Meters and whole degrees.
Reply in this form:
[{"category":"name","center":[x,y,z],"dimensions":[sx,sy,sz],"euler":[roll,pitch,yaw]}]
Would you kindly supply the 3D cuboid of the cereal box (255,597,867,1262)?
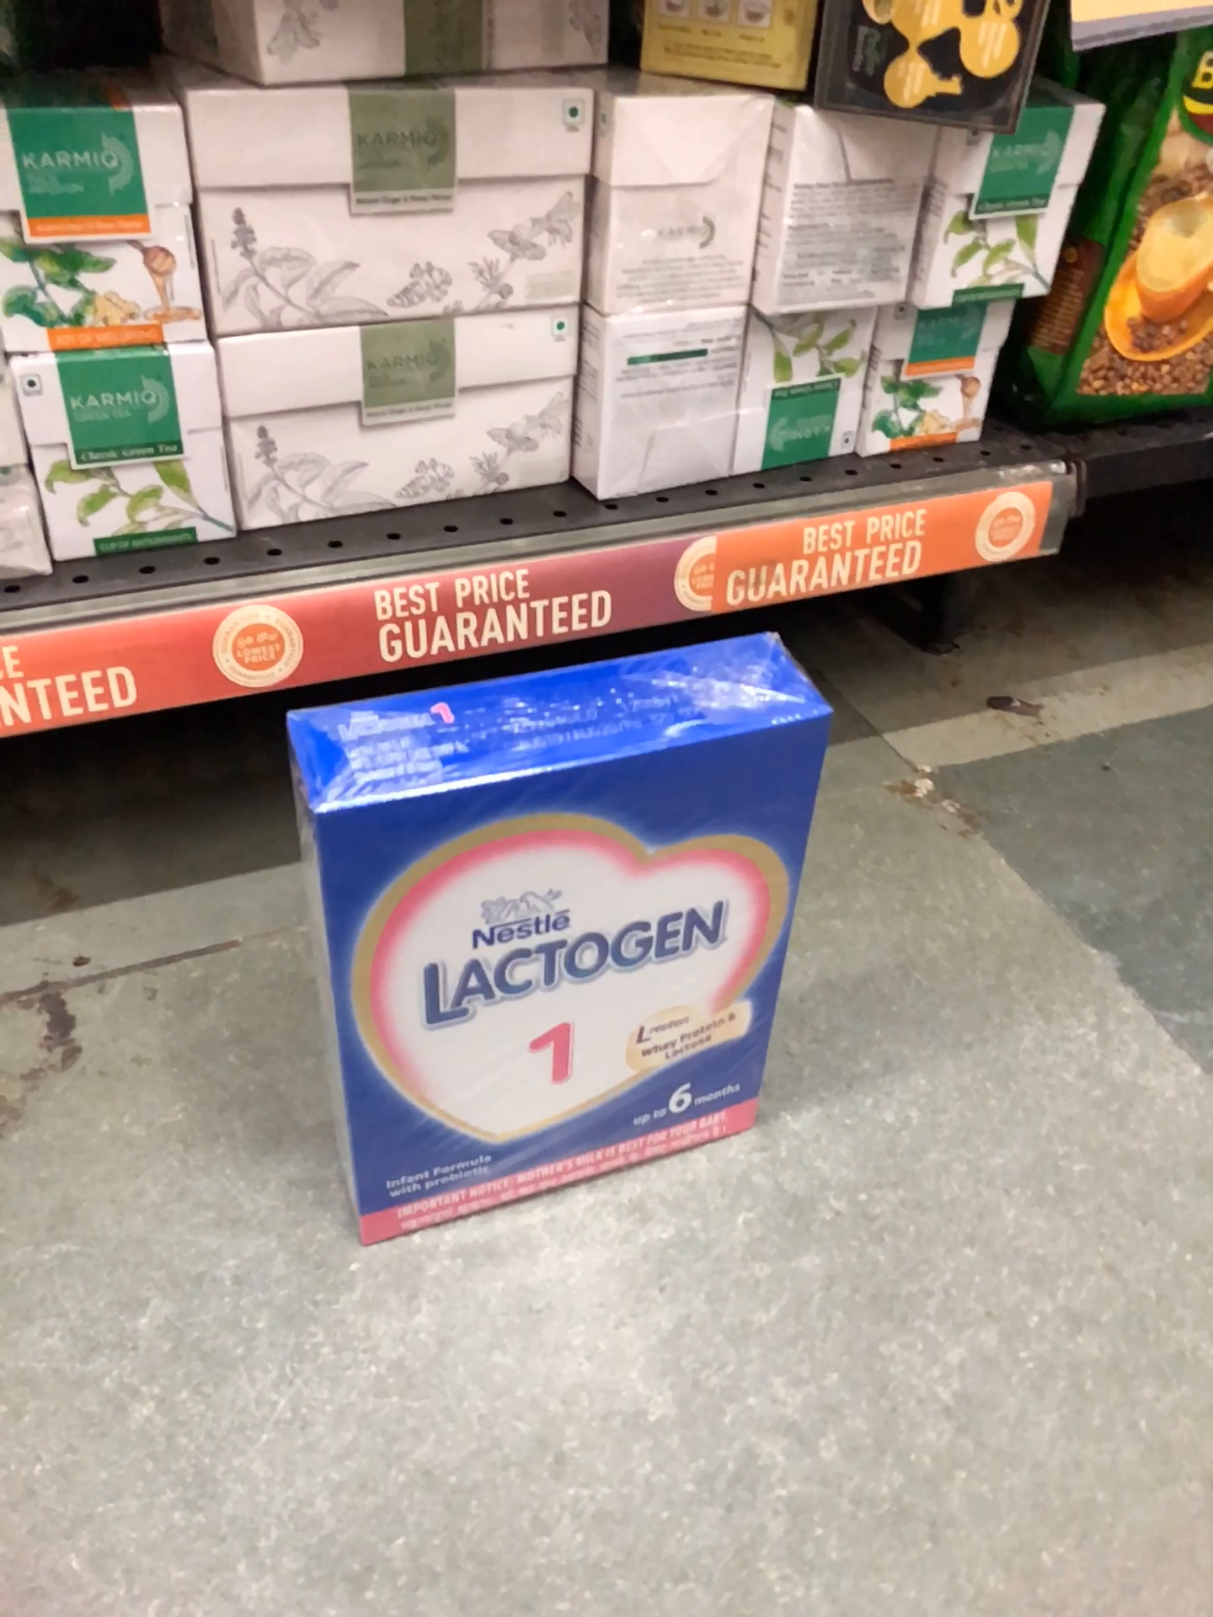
[{"category":"cereal box","center":[-0.016,0.043,0.427],"dimensions":[0.160,0.199,0.050],"euler":[-12,41,-18]}]
